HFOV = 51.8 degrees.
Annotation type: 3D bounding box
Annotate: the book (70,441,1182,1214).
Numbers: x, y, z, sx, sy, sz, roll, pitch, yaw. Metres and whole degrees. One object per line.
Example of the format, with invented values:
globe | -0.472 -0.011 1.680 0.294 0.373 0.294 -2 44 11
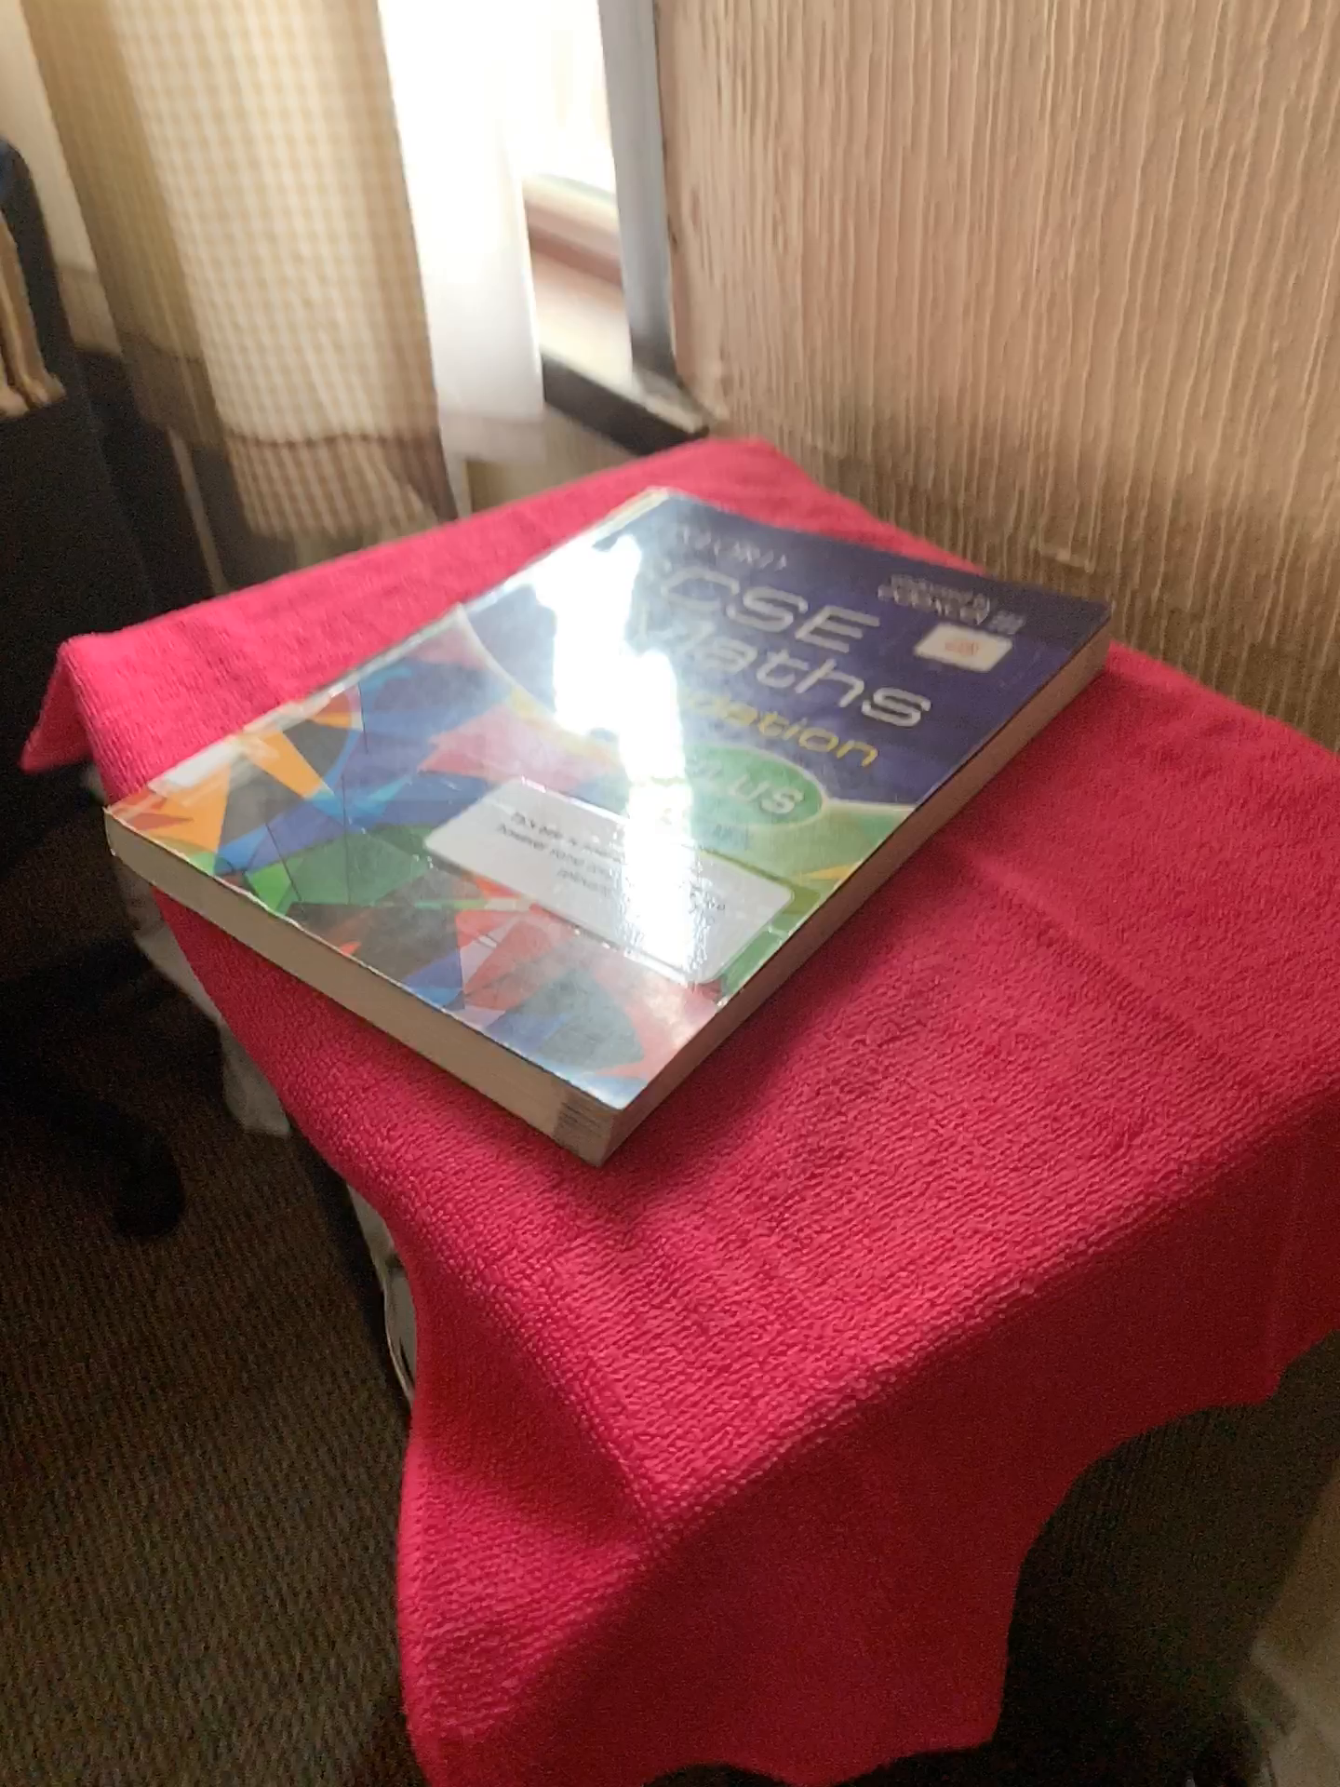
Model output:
book | -0.002 -0.055 0.431 0.211 0.030 0.282 25 49 30
